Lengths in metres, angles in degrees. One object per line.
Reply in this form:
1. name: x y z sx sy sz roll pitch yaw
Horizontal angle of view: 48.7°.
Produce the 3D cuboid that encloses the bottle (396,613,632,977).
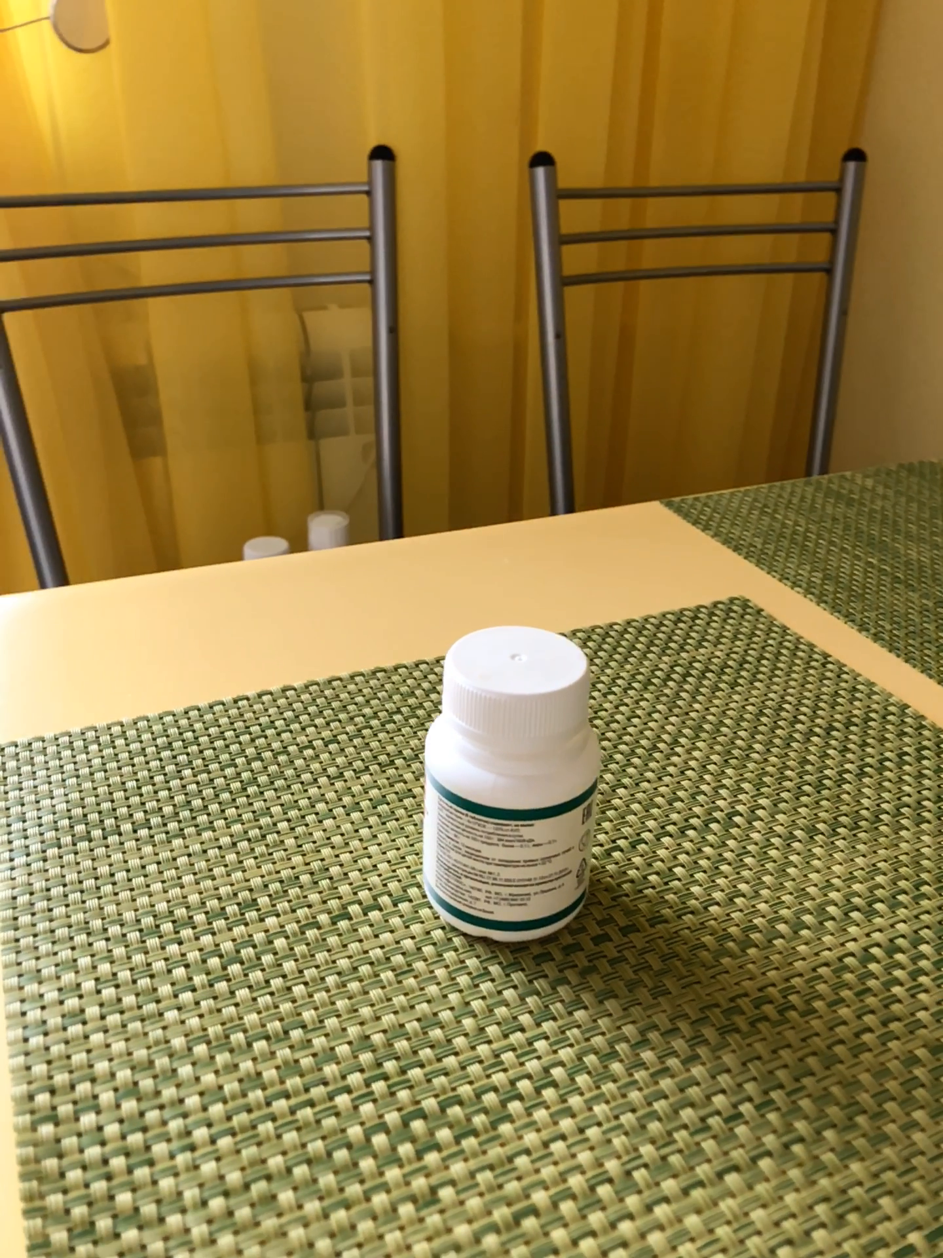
1. bottle: 0.011 0.041 0.268 0.050 0.070 0.050 1 28 -1
